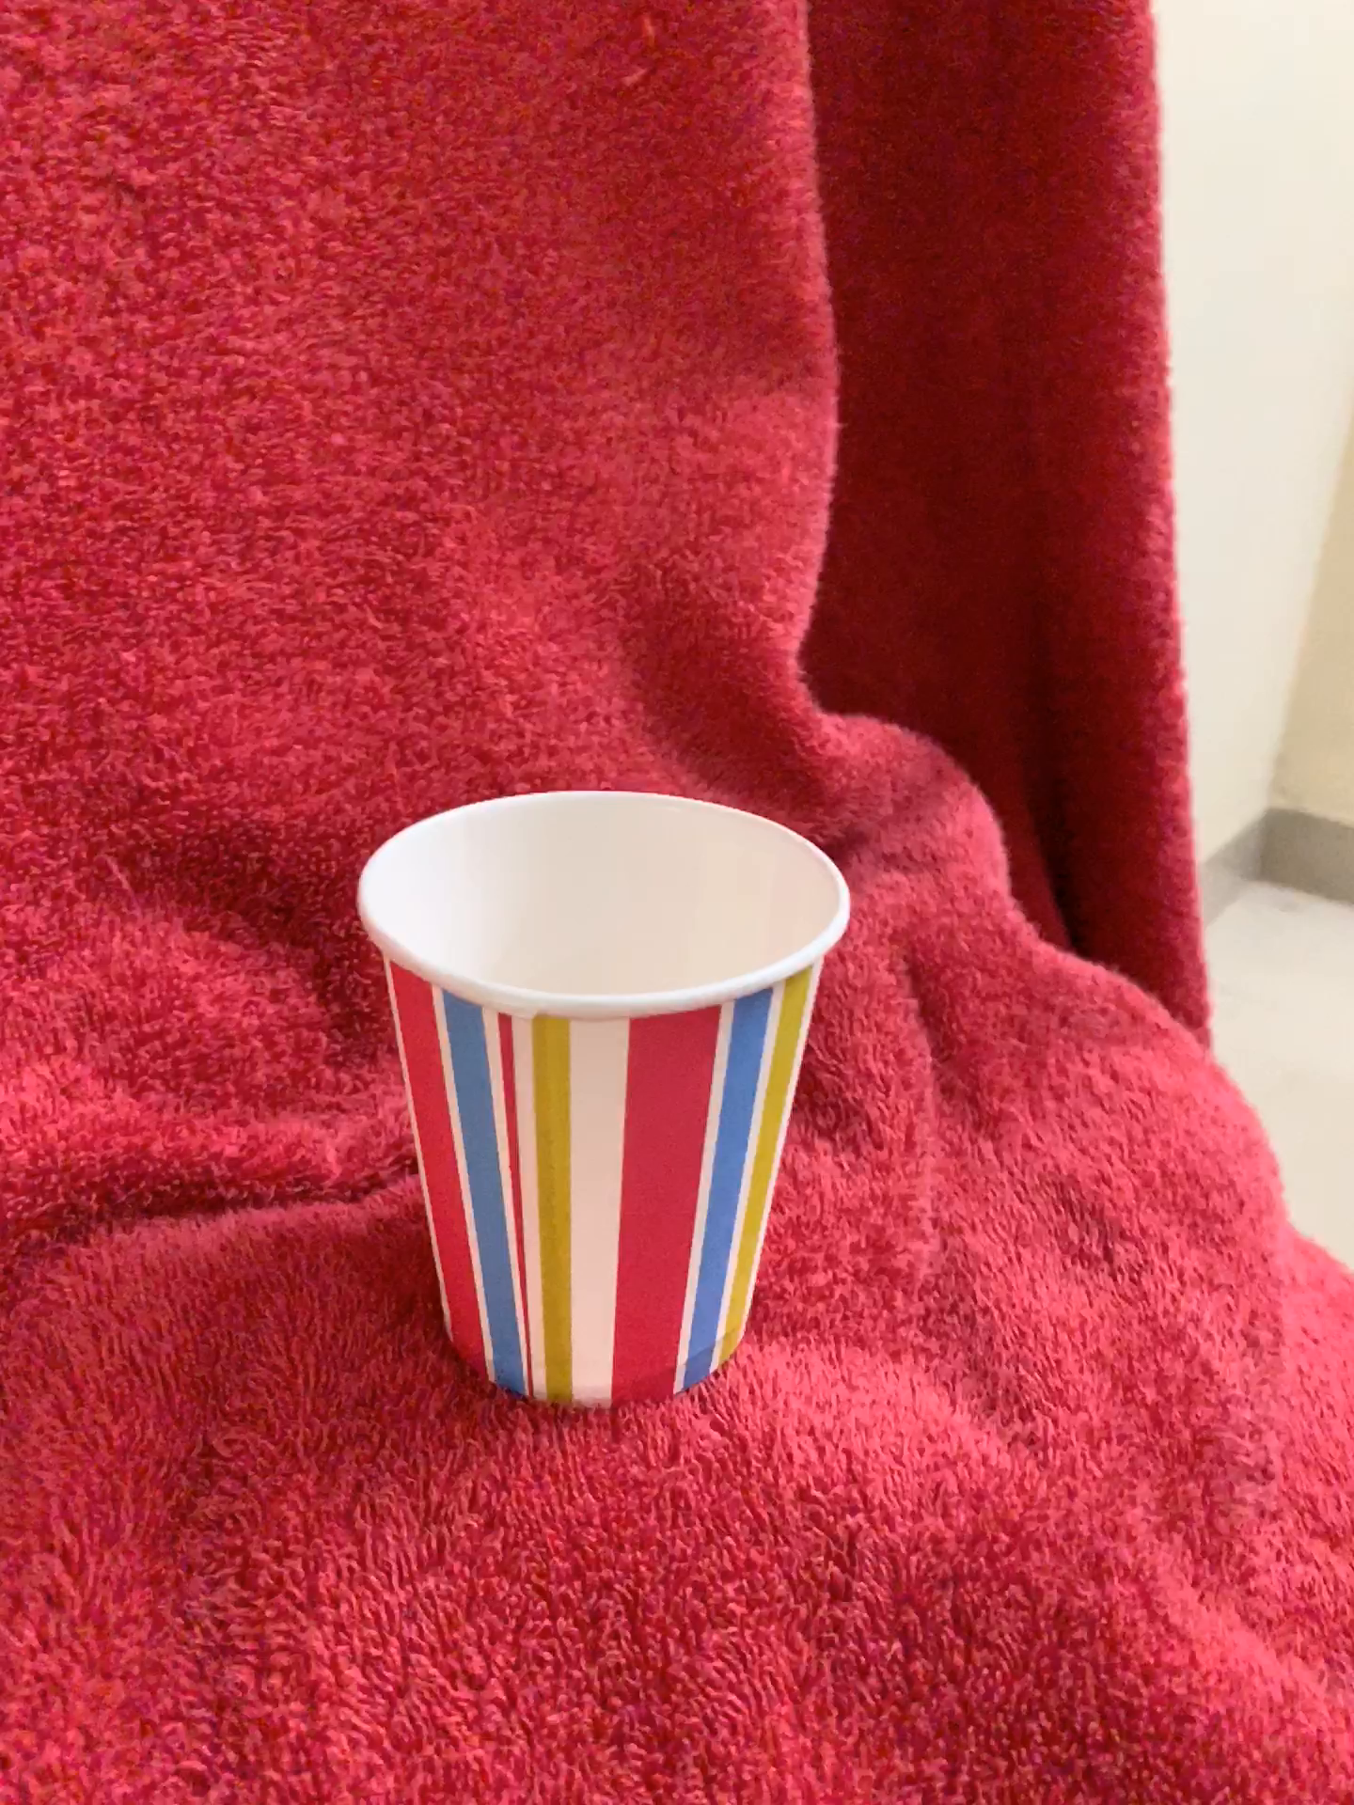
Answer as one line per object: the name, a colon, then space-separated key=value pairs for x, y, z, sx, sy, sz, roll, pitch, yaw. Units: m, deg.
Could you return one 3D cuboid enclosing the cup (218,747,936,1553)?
cup: x=-0.009 y=0.027 z=0.198 sx=0.070 sy=0.069 sz=0.070 roll=2 pitch=25 yaw=-1
